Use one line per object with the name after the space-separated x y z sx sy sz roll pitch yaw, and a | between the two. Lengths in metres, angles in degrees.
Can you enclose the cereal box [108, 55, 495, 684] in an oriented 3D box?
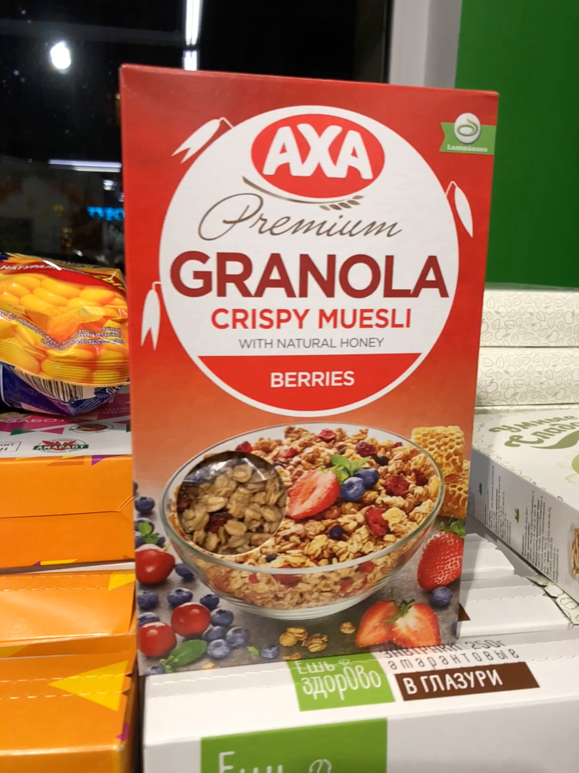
-0.001 -0.001 0.257 0.130 0.219 0.050 0 12 -11 | cereal box
